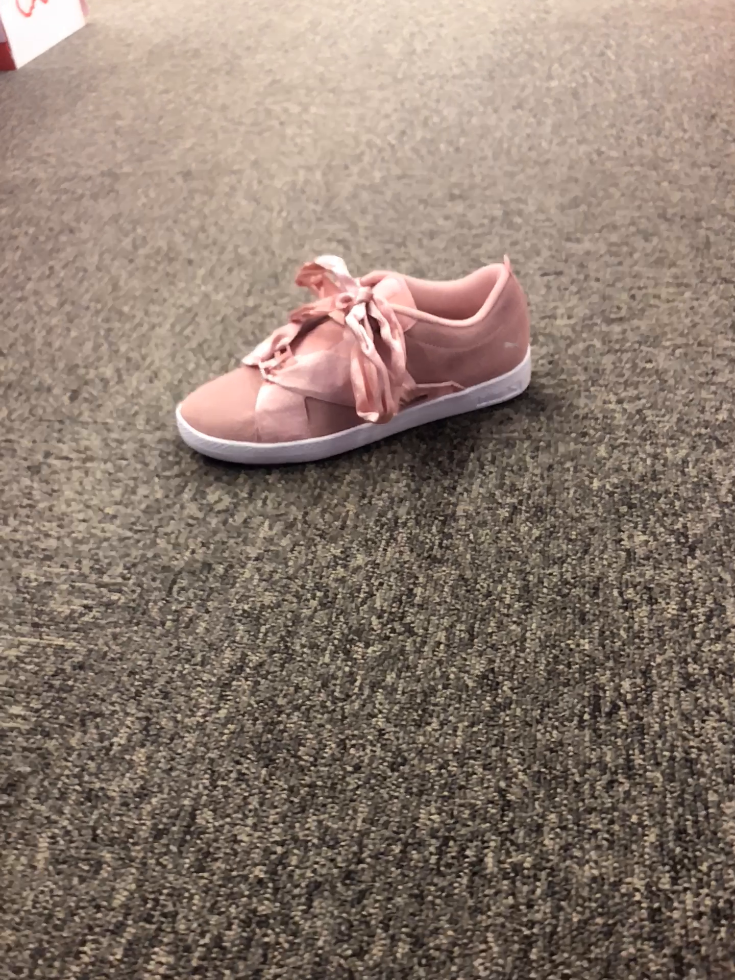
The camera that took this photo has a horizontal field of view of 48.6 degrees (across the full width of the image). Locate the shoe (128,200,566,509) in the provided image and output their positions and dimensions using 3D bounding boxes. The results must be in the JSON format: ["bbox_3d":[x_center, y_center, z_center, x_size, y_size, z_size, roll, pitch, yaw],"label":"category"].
[{"bbox_3d":[-0.013,-0.092,0.552,0.262,0.100,0.101,-16,42,2],"label":"shoe"}]
